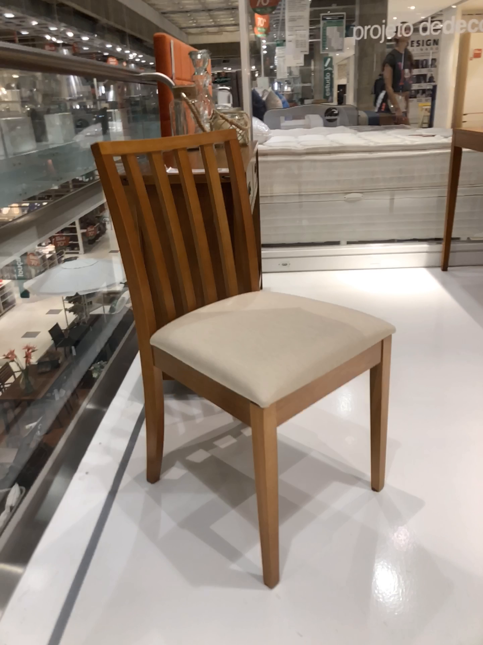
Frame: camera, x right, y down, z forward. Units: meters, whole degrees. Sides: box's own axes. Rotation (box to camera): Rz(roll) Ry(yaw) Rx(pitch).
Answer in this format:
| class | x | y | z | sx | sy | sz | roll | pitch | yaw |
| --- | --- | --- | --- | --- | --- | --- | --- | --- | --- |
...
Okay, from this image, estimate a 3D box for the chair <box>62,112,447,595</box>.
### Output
| class | x | y | z | sx | sy | sz | roll | pitch | yaw |
| --- | --- | --- | --- | --- | --- | --- | --- | --- | --- |
| chair | 0.043 | -0.015 | 1.214 | 0.551 | 0.835 | 0.542 | 18 | 30 | 41 |
